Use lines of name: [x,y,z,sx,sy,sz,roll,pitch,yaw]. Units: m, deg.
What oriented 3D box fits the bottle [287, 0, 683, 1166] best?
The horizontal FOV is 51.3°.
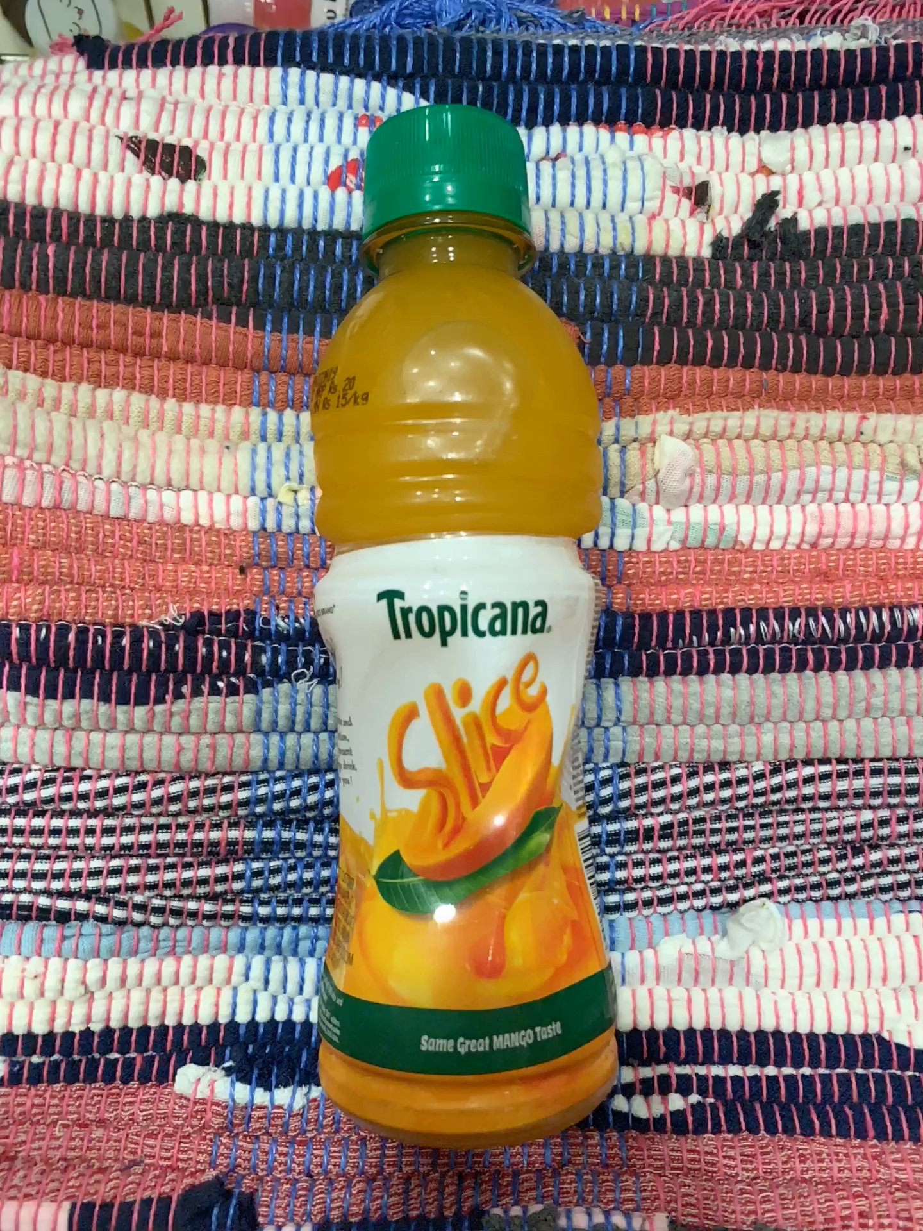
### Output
bottle: [0.001,-0.011,0.178,0.060,0.050,0.190,0,84,-6]
